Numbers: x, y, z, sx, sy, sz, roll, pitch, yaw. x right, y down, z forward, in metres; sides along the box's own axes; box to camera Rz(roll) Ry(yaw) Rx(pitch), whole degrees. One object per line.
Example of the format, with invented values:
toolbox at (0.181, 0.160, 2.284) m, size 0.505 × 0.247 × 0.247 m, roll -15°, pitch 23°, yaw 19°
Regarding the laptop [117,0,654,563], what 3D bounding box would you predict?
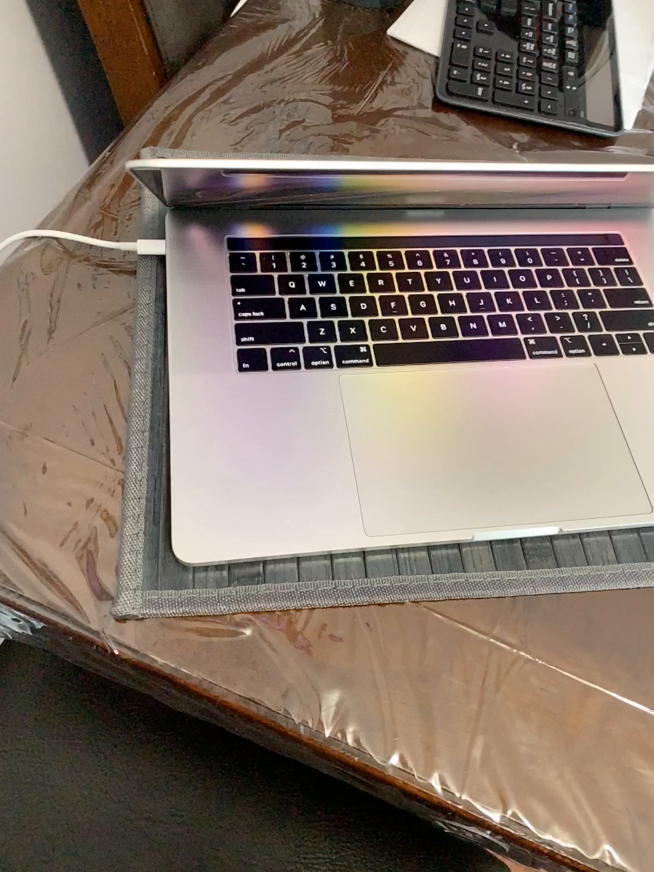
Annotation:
laptop at (0.090, -0.092, 0.330) m, size 0.342 × 0.166 × 0.233 m, roll -3°, pitch 62°, yaw -9°
